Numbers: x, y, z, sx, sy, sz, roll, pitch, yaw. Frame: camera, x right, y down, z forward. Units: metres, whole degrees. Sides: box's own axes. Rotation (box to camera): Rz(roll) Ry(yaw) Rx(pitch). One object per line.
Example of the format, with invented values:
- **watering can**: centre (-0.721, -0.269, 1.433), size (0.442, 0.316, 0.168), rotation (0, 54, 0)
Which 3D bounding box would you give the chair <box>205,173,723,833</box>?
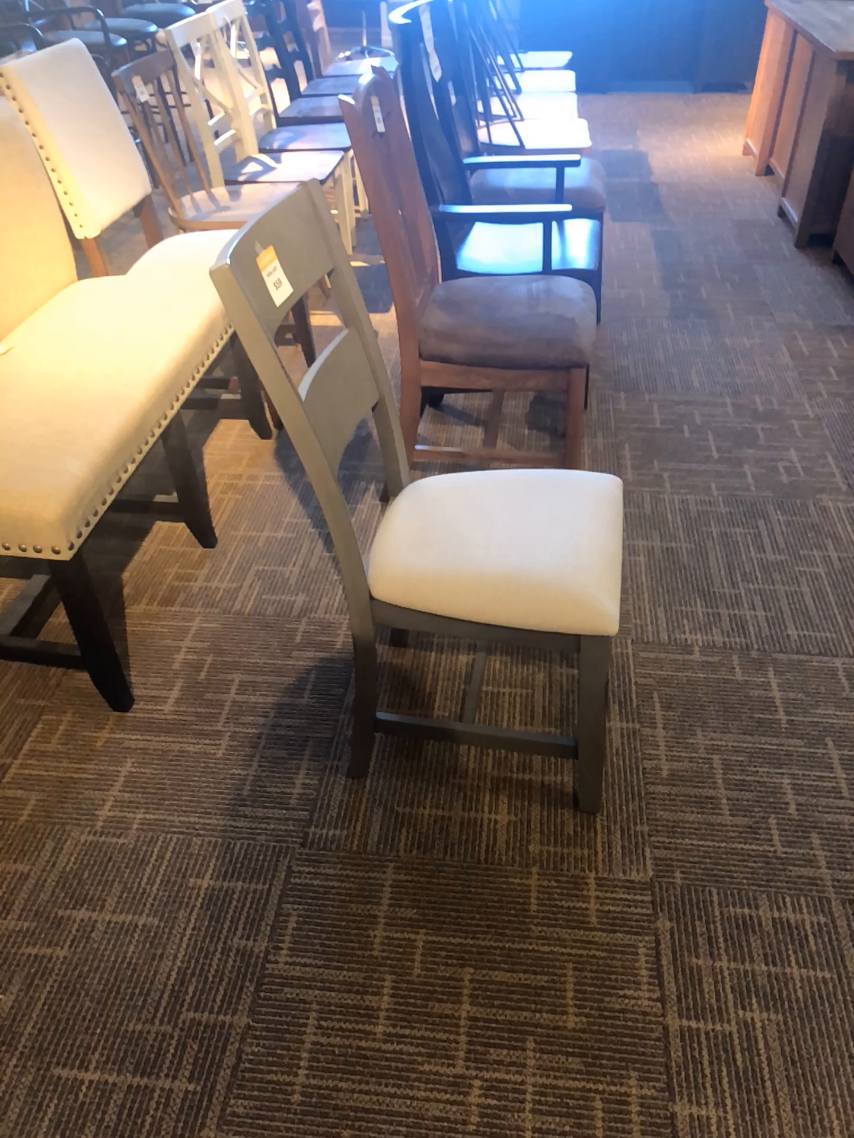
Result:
- **chair**: centre (0.075, -0.095, 1.591), size (0.630, 0.965, 0.462), rotation (6, 36, 9)
